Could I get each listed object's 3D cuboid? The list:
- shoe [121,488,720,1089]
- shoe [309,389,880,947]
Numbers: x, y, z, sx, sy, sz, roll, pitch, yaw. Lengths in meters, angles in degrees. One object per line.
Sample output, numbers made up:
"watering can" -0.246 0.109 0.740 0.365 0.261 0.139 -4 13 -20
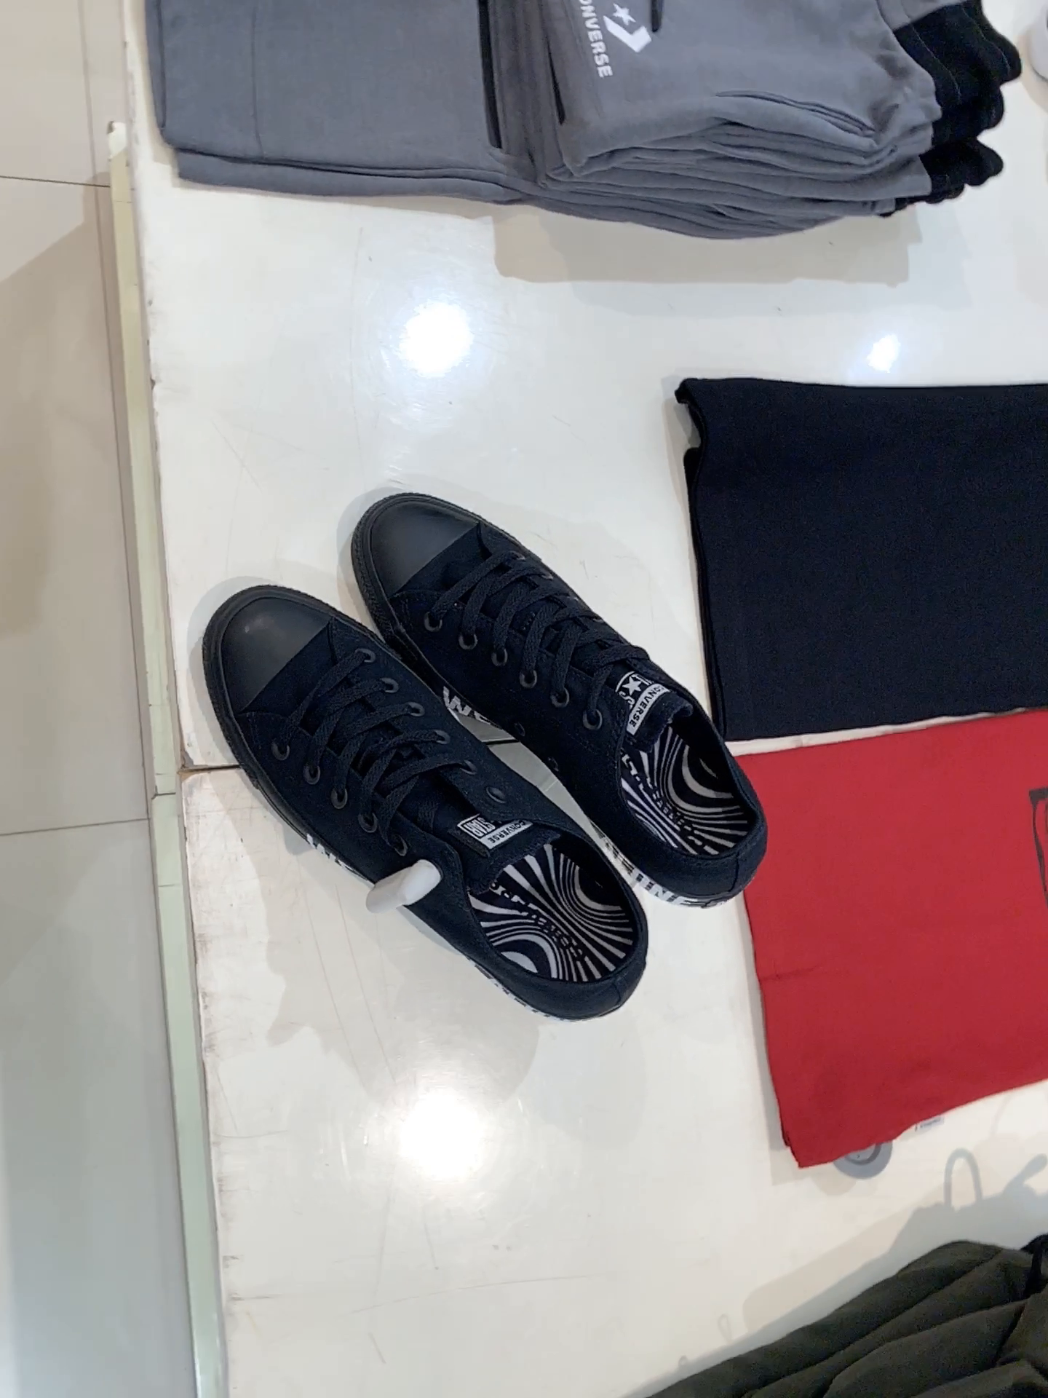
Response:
"shoe" -0.052 0.042 0.506 0.100 0.100 0.270 -42 75 -18
"shoe" 0.027 -0.015 0.555 0.090 0.100 0.290 -43 77 -13
